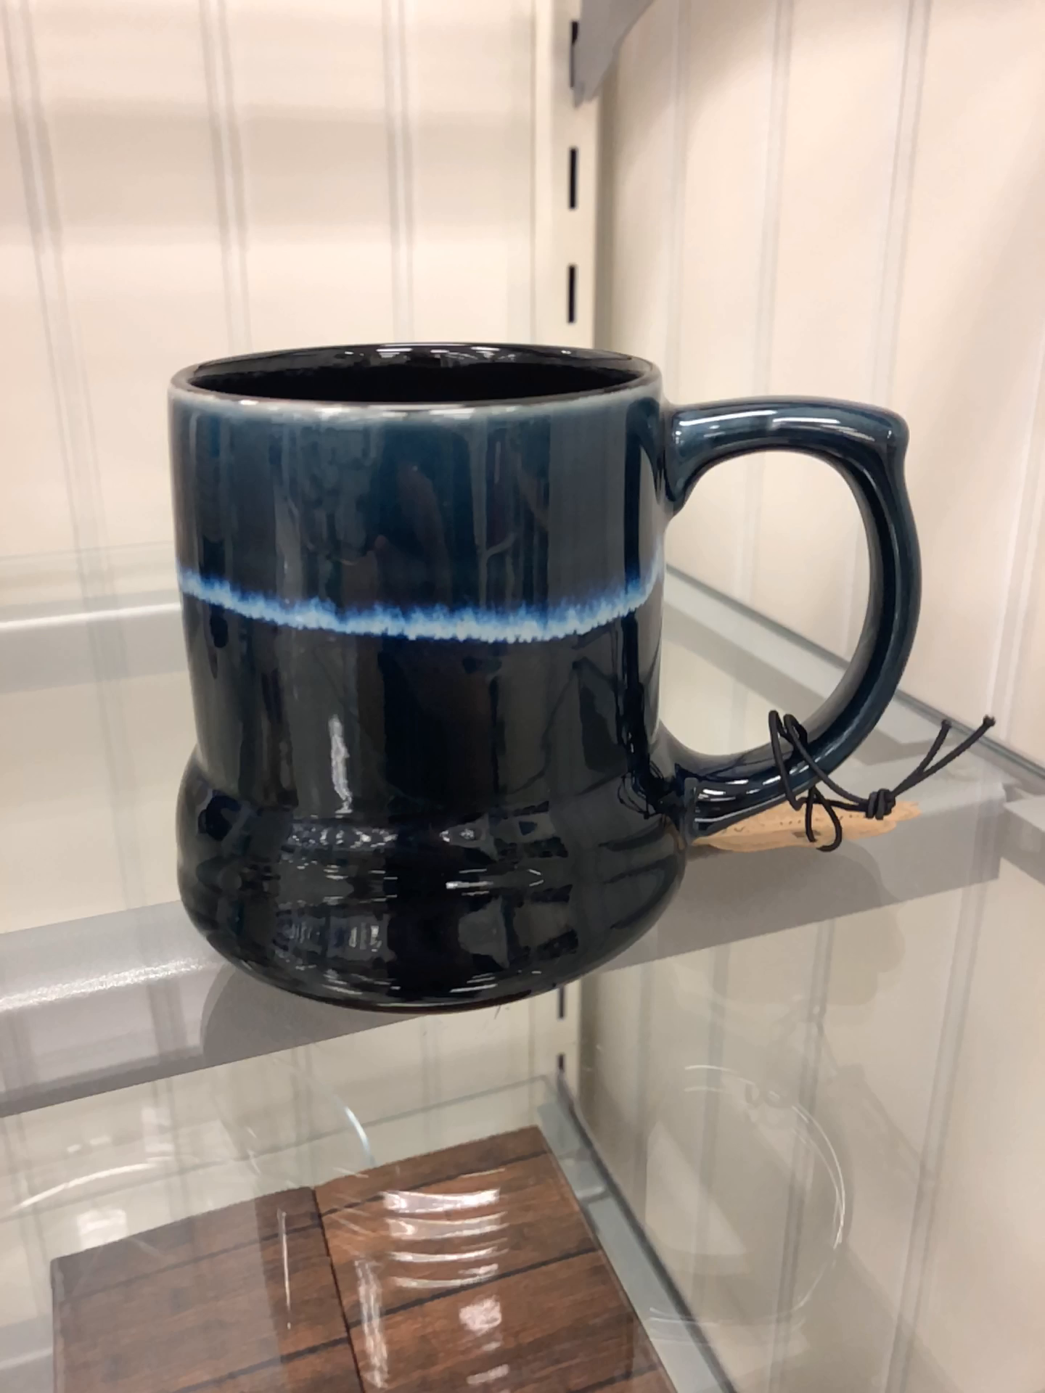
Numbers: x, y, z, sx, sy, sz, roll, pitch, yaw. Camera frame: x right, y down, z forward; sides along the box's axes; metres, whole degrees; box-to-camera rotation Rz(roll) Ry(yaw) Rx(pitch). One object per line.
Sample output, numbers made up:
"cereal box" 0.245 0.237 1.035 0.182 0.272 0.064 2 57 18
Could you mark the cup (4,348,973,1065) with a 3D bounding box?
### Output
"cup" -0.007 -0.008 0.235 0.140 0.109 0.101 -2 22 -4
